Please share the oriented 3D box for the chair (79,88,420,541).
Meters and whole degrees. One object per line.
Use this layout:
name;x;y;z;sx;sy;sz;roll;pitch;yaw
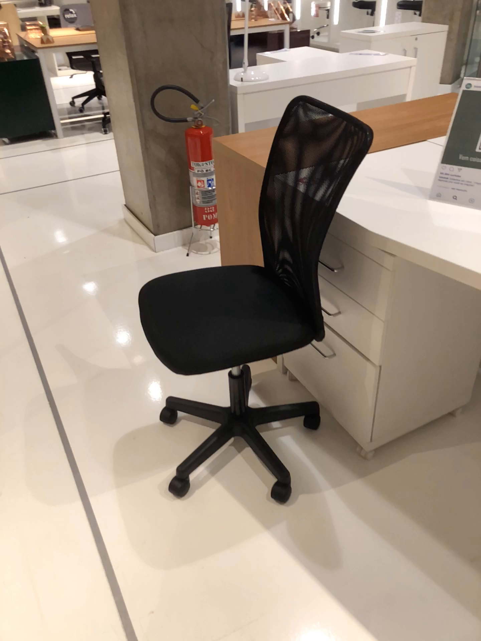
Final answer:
chair;-0.012;-0.029;1.373;0.571;0.922;0.564;-13;36;-14
